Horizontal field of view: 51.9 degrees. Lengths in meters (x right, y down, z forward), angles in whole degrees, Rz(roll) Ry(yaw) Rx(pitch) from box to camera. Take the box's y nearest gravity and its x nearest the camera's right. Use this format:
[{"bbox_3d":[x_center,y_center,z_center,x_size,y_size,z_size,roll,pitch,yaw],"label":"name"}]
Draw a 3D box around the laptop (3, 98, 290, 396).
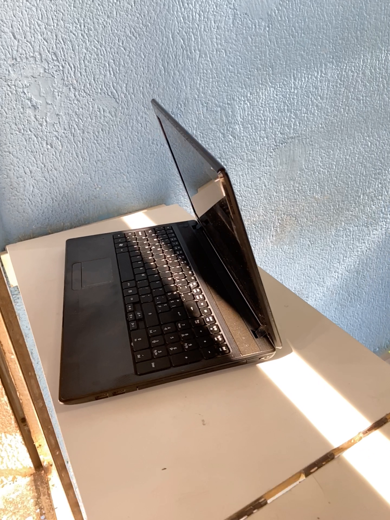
[{"bbox_3d":[-0.074,-0.064,0.564,0.253,0.234,0.376,-9,31,-11],"label":"laptop"}]
